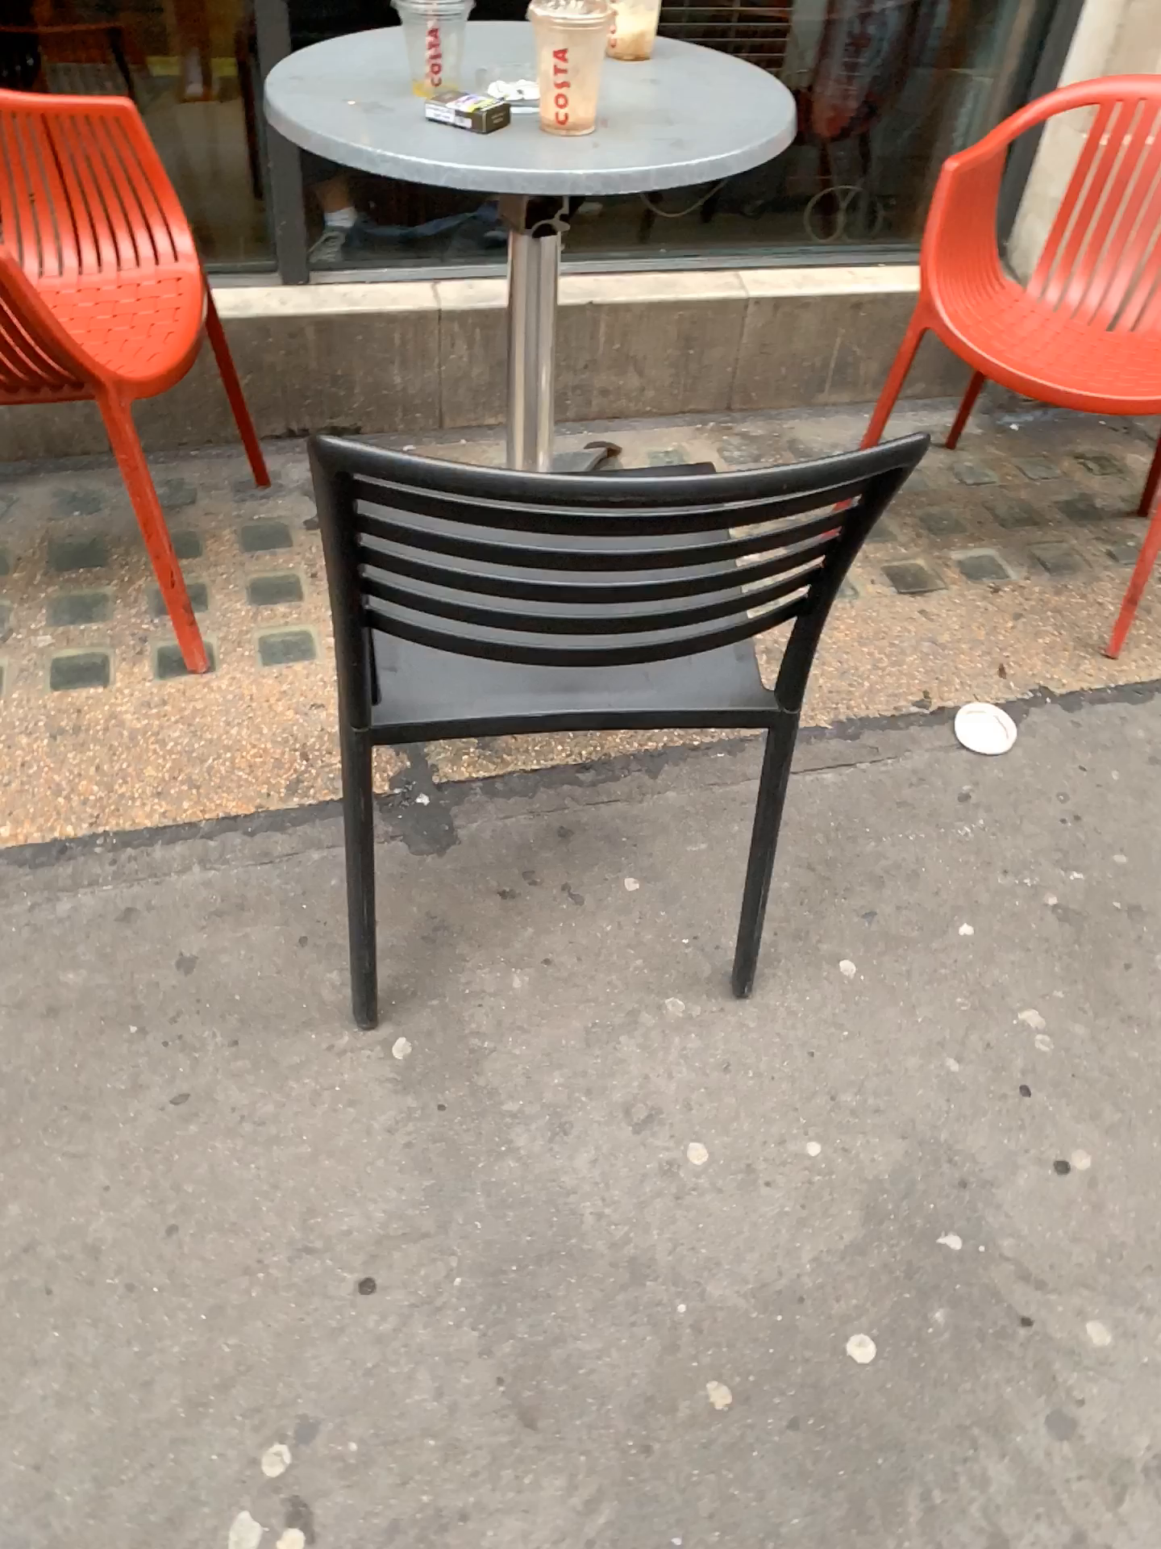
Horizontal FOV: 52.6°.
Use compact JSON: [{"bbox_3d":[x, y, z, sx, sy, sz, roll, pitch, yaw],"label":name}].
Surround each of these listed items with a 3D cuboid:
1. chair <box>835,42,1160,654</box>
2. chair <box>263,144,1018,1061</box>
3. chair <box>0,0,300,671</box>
[{"bbox_3d":[1.013,-0.833,2.240,0.642,0.773,0.705,28,48,21],"label":"chair"},{"bbox_3d":[-0.027,-0.186,1.302,0.550,0.753,0.606,-5,45,-11],"label":"chair"},{"bbox_3d":[-0.810,-0.636,1.733,0.640,0.743,0.575,2,44,-5],"label":"chair"}]
